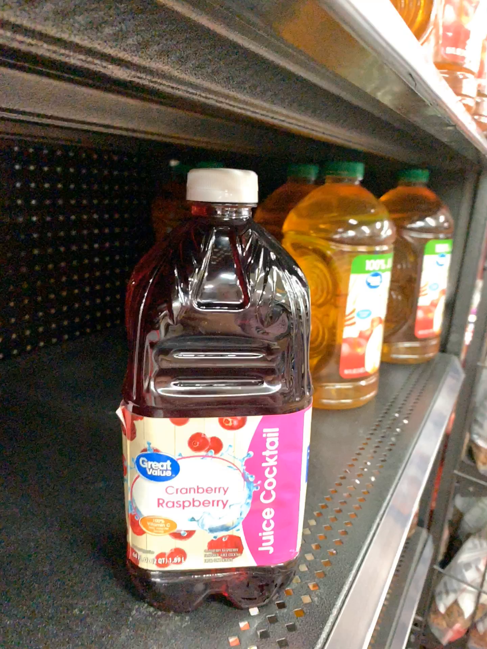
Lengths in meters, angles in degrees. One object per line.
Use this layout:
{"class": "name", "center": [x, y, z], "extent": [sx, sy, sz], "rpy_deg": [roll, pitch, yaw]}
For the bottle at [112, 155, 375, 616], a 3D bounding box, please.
{"class": "bottle", "center": [-0.012, 0.035, 0.321], "extent": [0.125, 0.259, 0.100], "rpy_deg": [1, 16, -8]}
